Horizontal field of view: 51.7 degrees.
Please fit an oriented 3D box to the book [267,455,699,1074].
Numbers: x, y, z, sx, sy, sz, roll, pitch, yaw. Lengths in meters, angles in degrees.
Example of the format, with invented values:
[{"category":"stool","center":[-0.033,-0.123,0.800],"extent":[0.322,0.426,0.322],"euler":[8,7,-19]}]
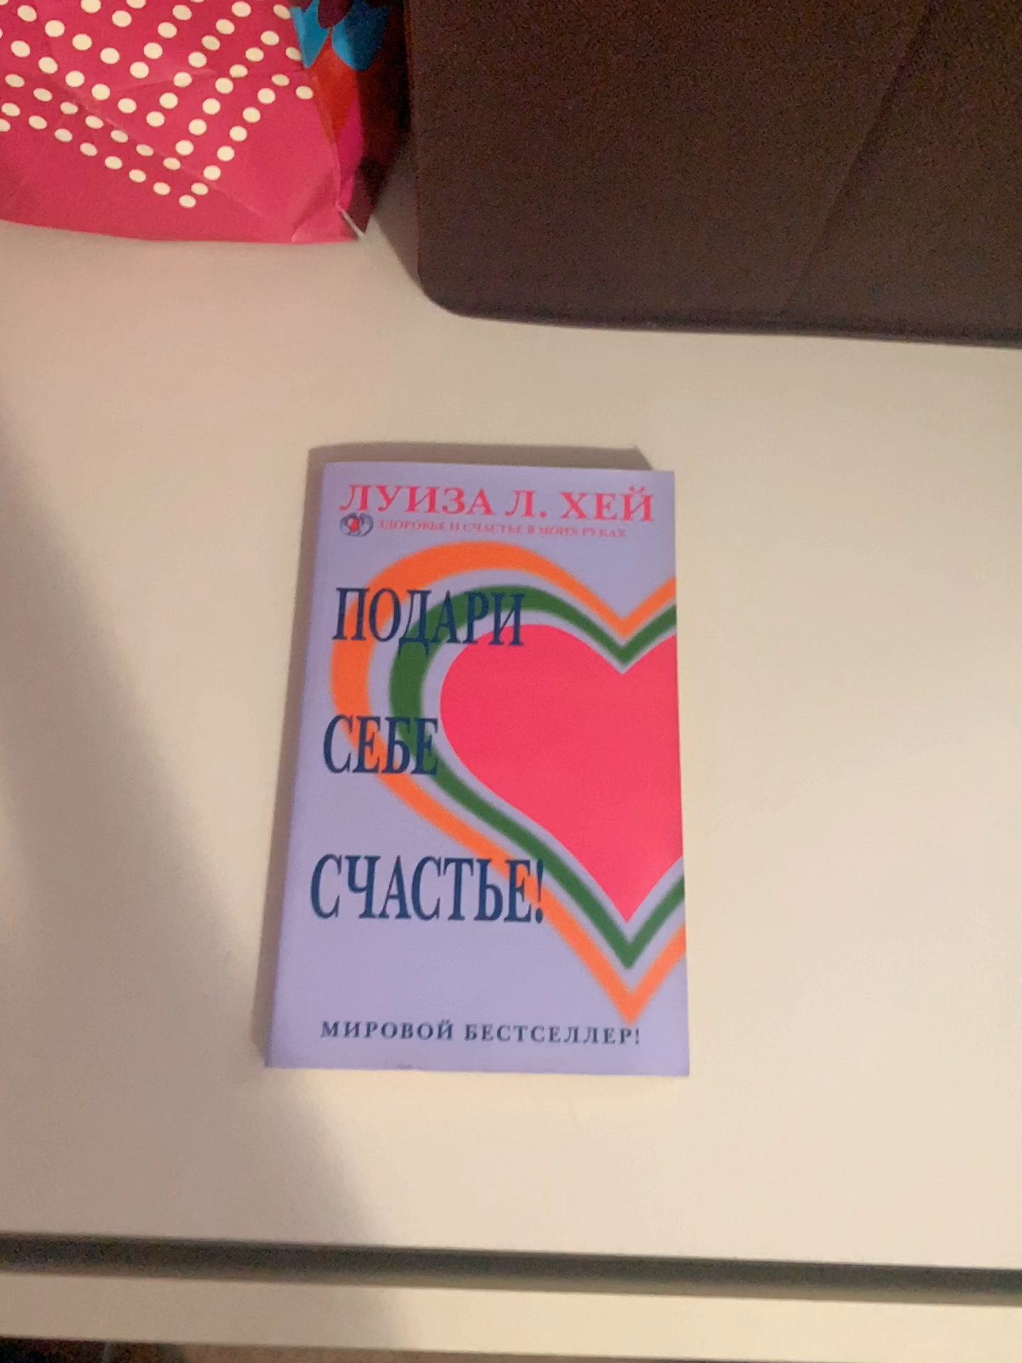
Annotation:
[{"category":"book","center":[-0.006,0.020,0.336],"extent":[0.123,0.016,0.194],"euler":[2,72,-2]}]
